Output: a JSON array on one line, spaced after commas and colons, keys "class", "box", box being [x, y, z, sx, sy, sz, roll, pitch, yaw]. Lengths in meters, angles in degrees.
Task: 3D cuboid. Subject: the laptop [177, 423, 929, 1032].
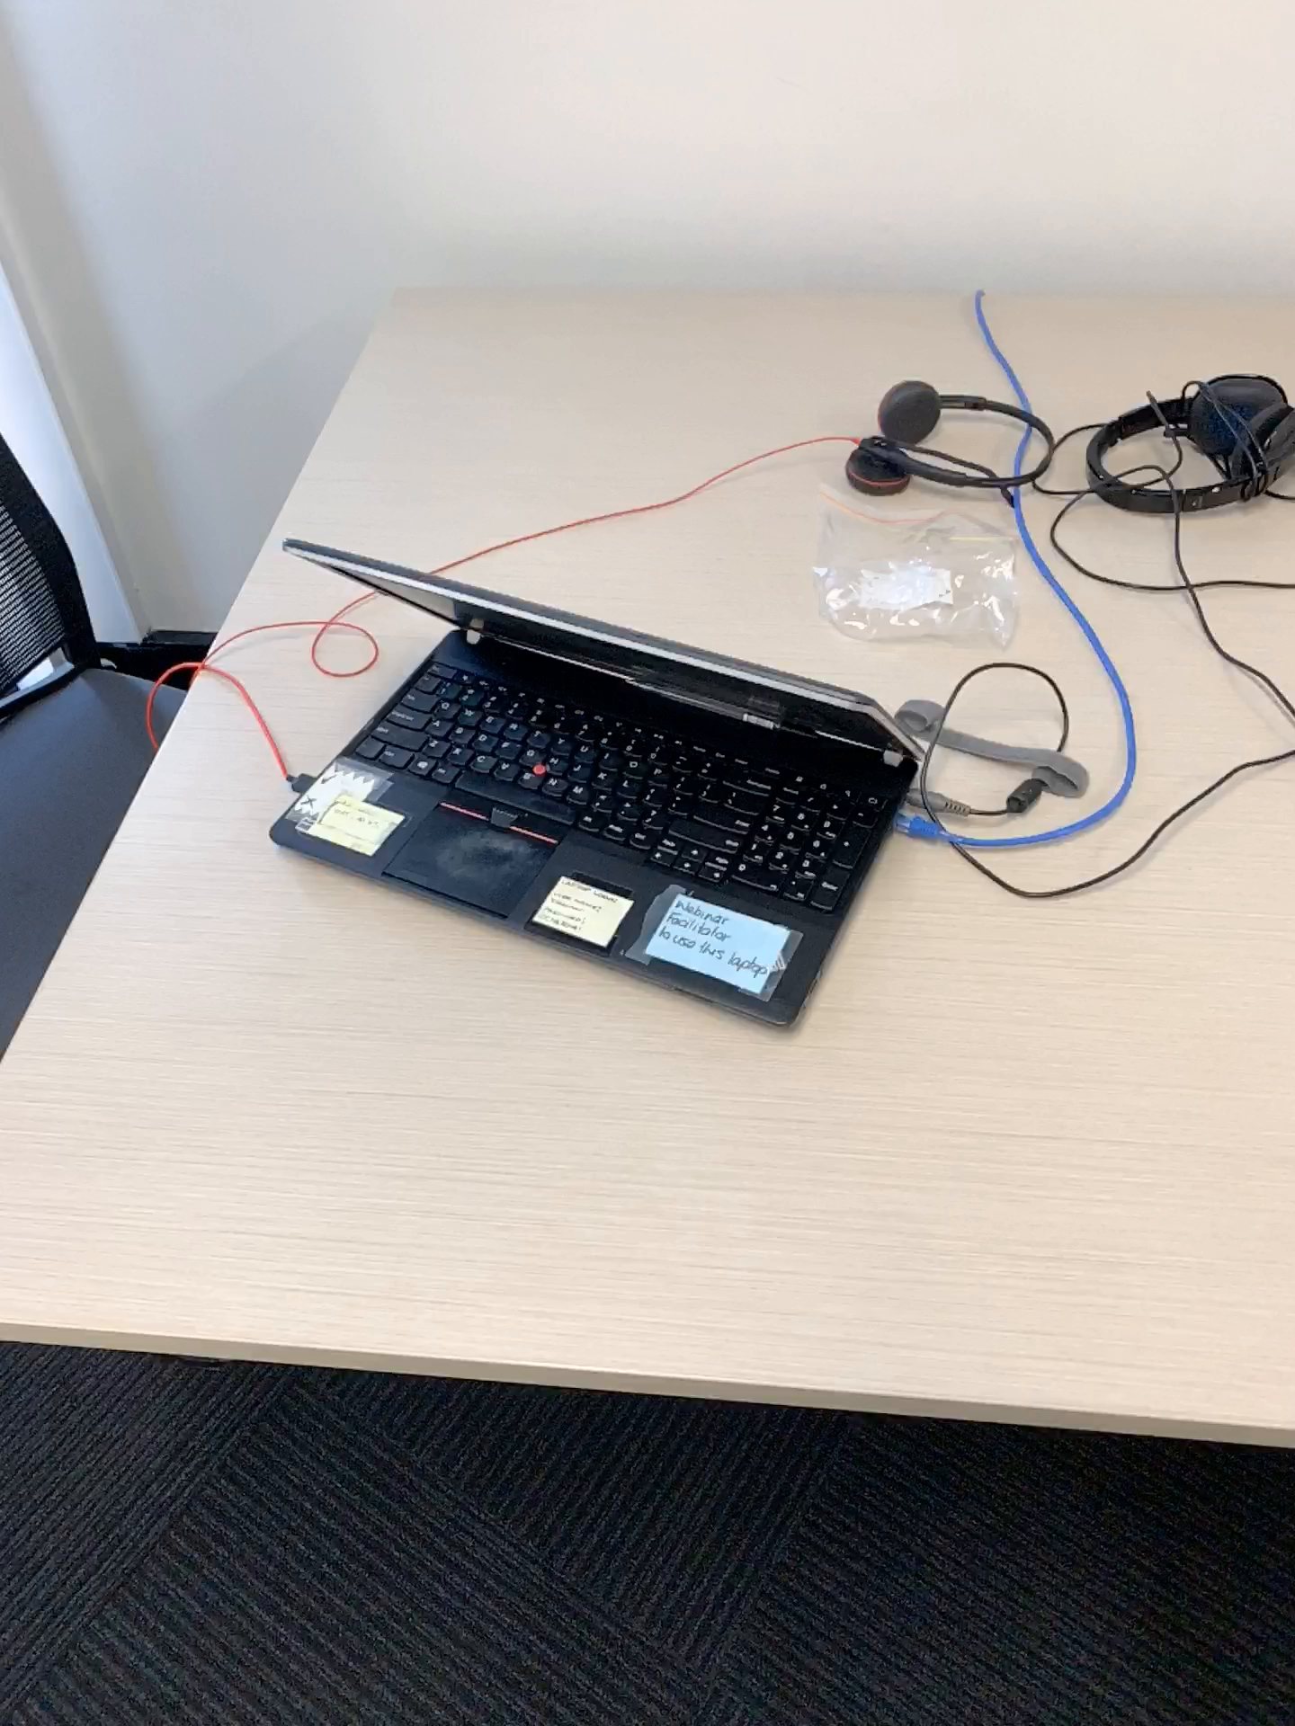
[{"class": "laptop", "box": [-0.039, -0.092, 0.725, 0.326, 0.157, 0.227, 18, 47, 20]}]
